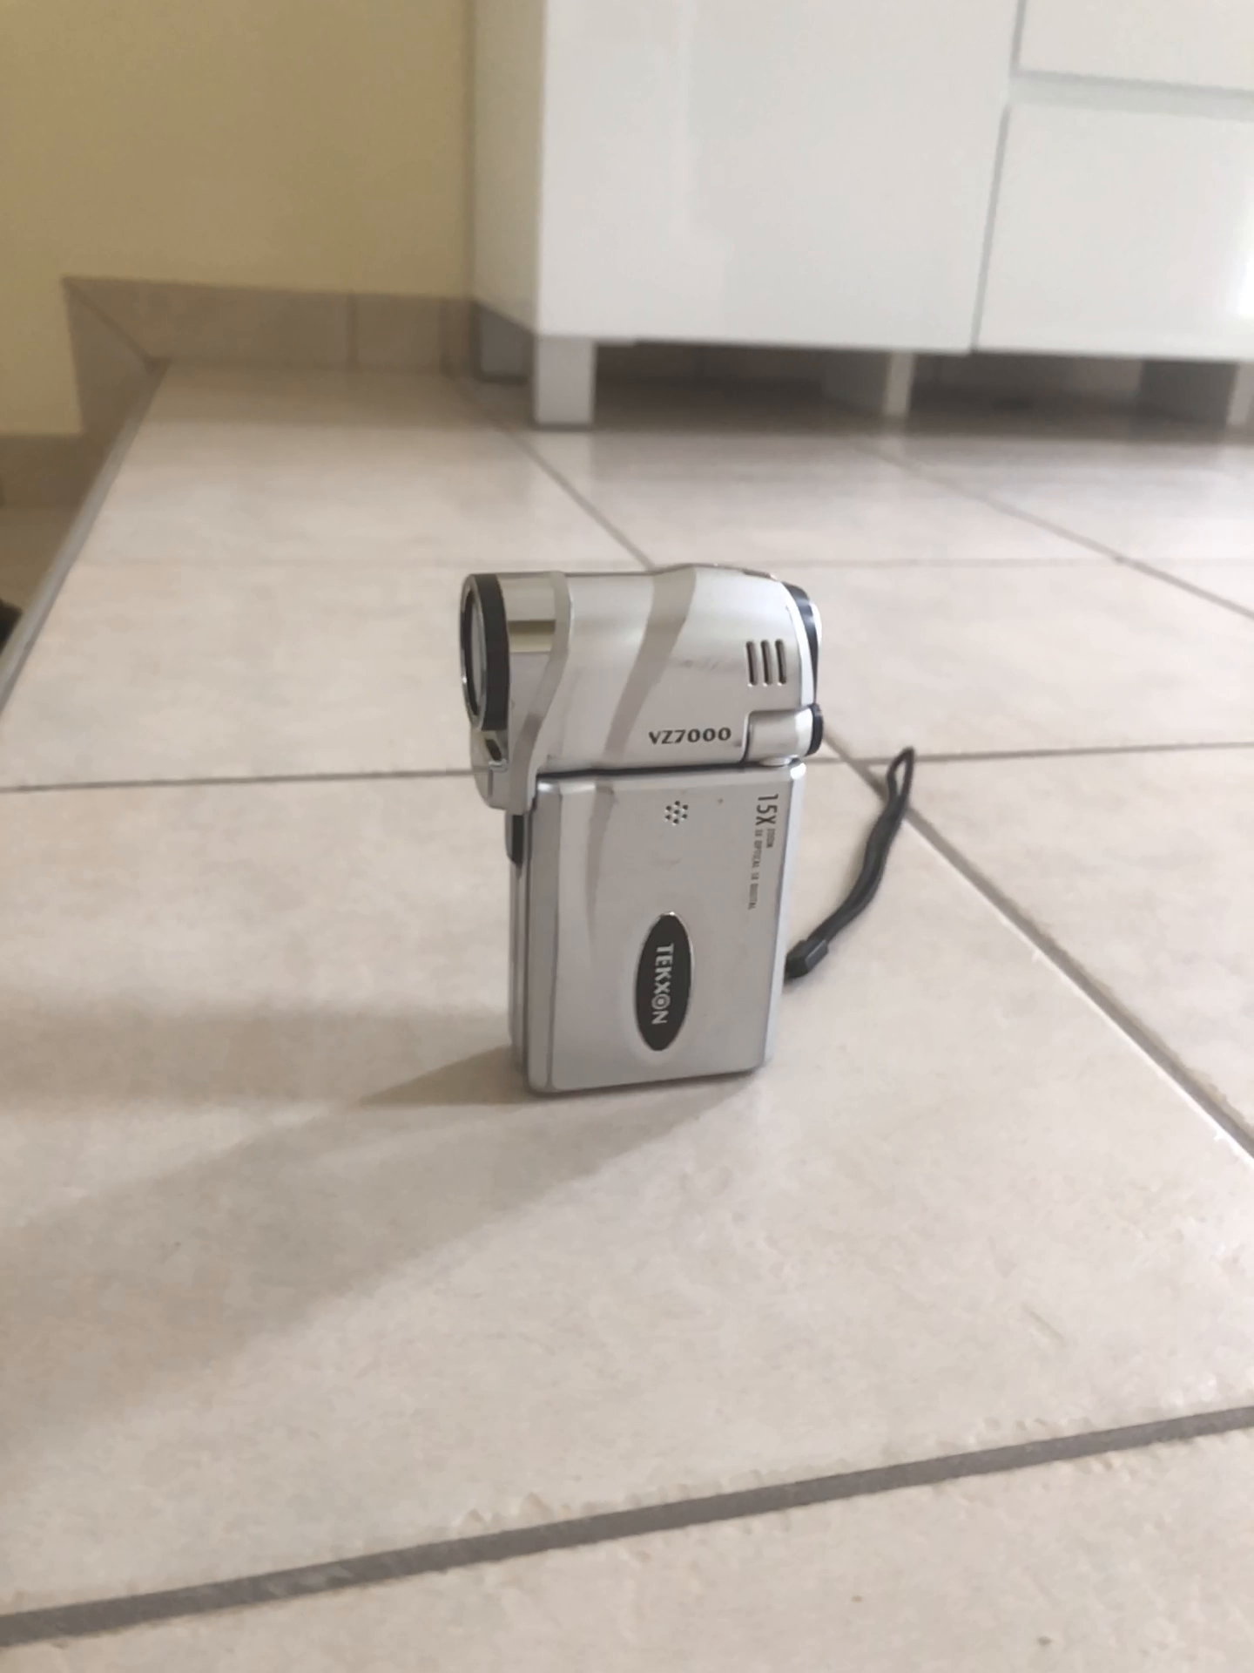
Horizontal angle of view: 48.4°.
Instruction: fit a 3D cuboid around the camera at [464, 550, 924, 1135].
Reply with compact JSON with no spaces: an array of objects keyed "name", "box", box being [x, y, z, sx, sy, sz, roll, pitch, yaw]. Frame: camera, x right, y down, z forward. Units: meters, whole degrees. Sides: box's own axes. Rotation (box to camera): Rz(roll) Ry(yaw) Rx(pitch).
[{"name":"camera","box":[0.009,0.000,0.291,0.080,0.109,0.040,-4,24,-16]}]
